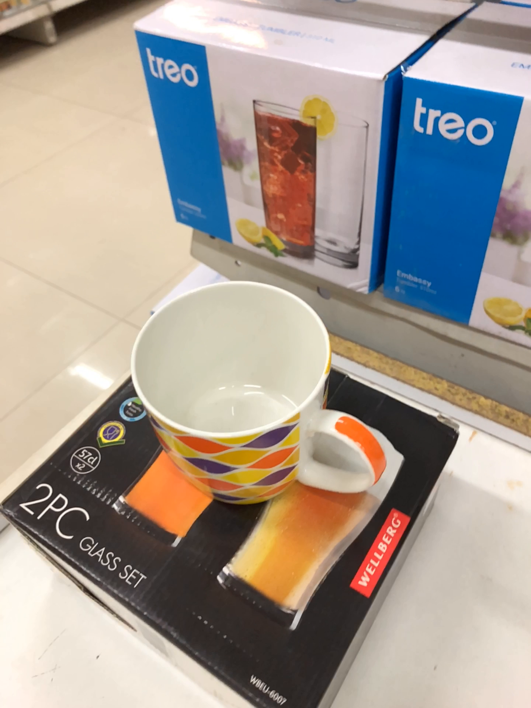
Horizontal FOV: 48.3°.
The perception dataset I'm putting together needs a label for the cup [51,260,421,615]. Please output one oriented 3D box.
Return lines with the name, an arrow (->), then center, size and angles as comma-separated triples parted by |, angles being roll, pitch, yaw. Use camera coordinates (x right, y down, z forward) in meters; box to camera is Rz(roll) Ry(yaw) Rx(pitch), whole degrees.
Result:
cup -> -0.010, 0.034, 0.284 | 0.130, 0.089, 0.091 | 22, 52, 25
